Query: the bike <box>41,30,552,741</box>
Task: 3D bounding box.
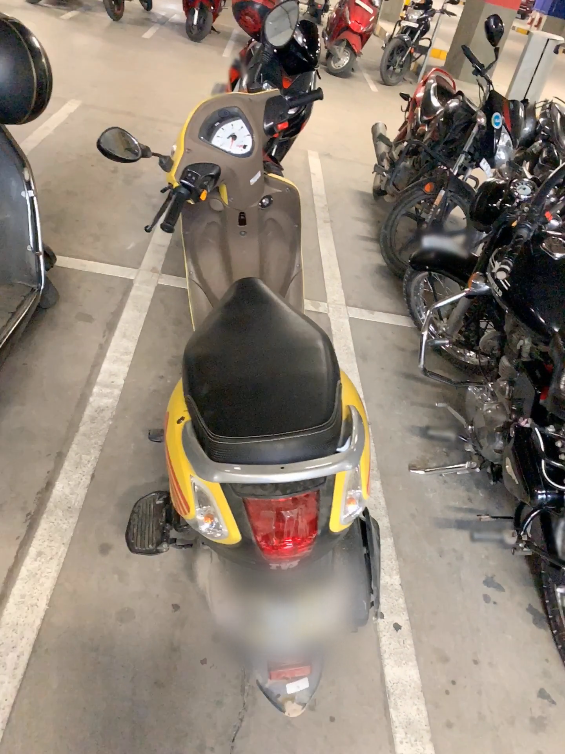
[{"bbox_3d":[-0.149,-0.188,1.592,0.566,1.048,1.713,5,37,-12],"label":"bike"}]
